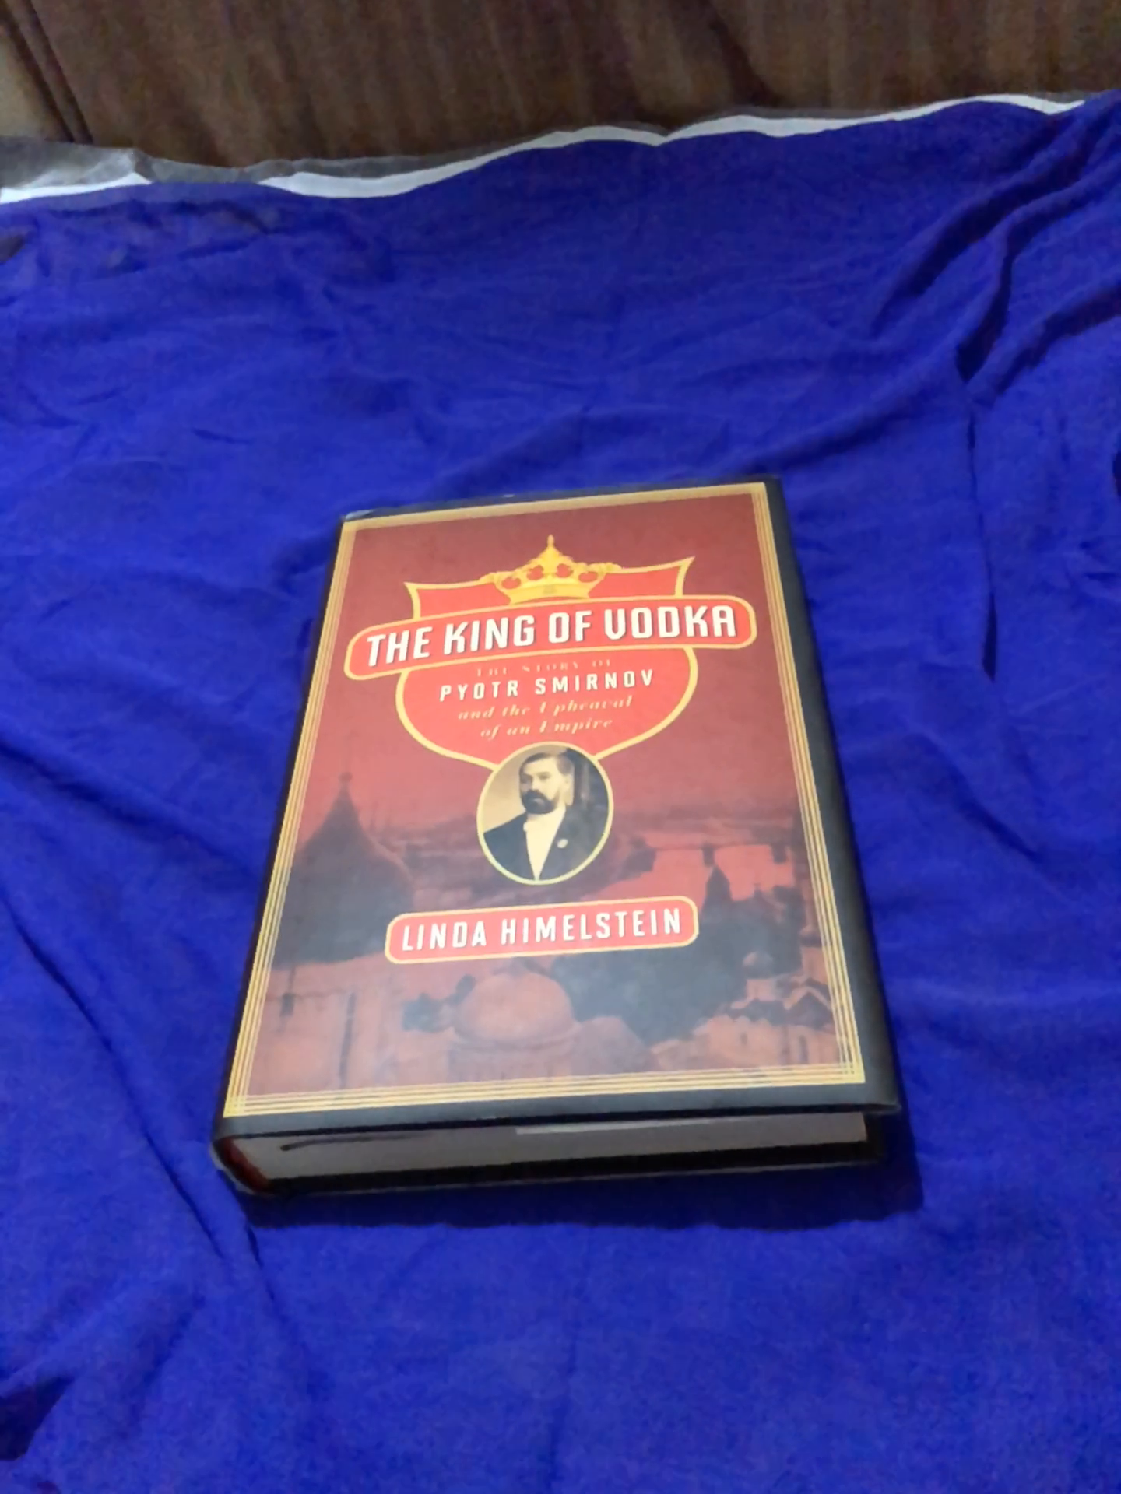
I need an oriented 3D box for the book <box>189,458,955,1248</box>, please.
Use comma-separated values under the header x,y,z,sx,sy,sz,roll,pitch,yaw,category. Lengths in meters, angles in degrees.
x,y,z,sx,sy,sz,roll,pitch,yaw,category
0.002,0.013,0.380,0.170,0.050,0.251,-5,46,4,book
